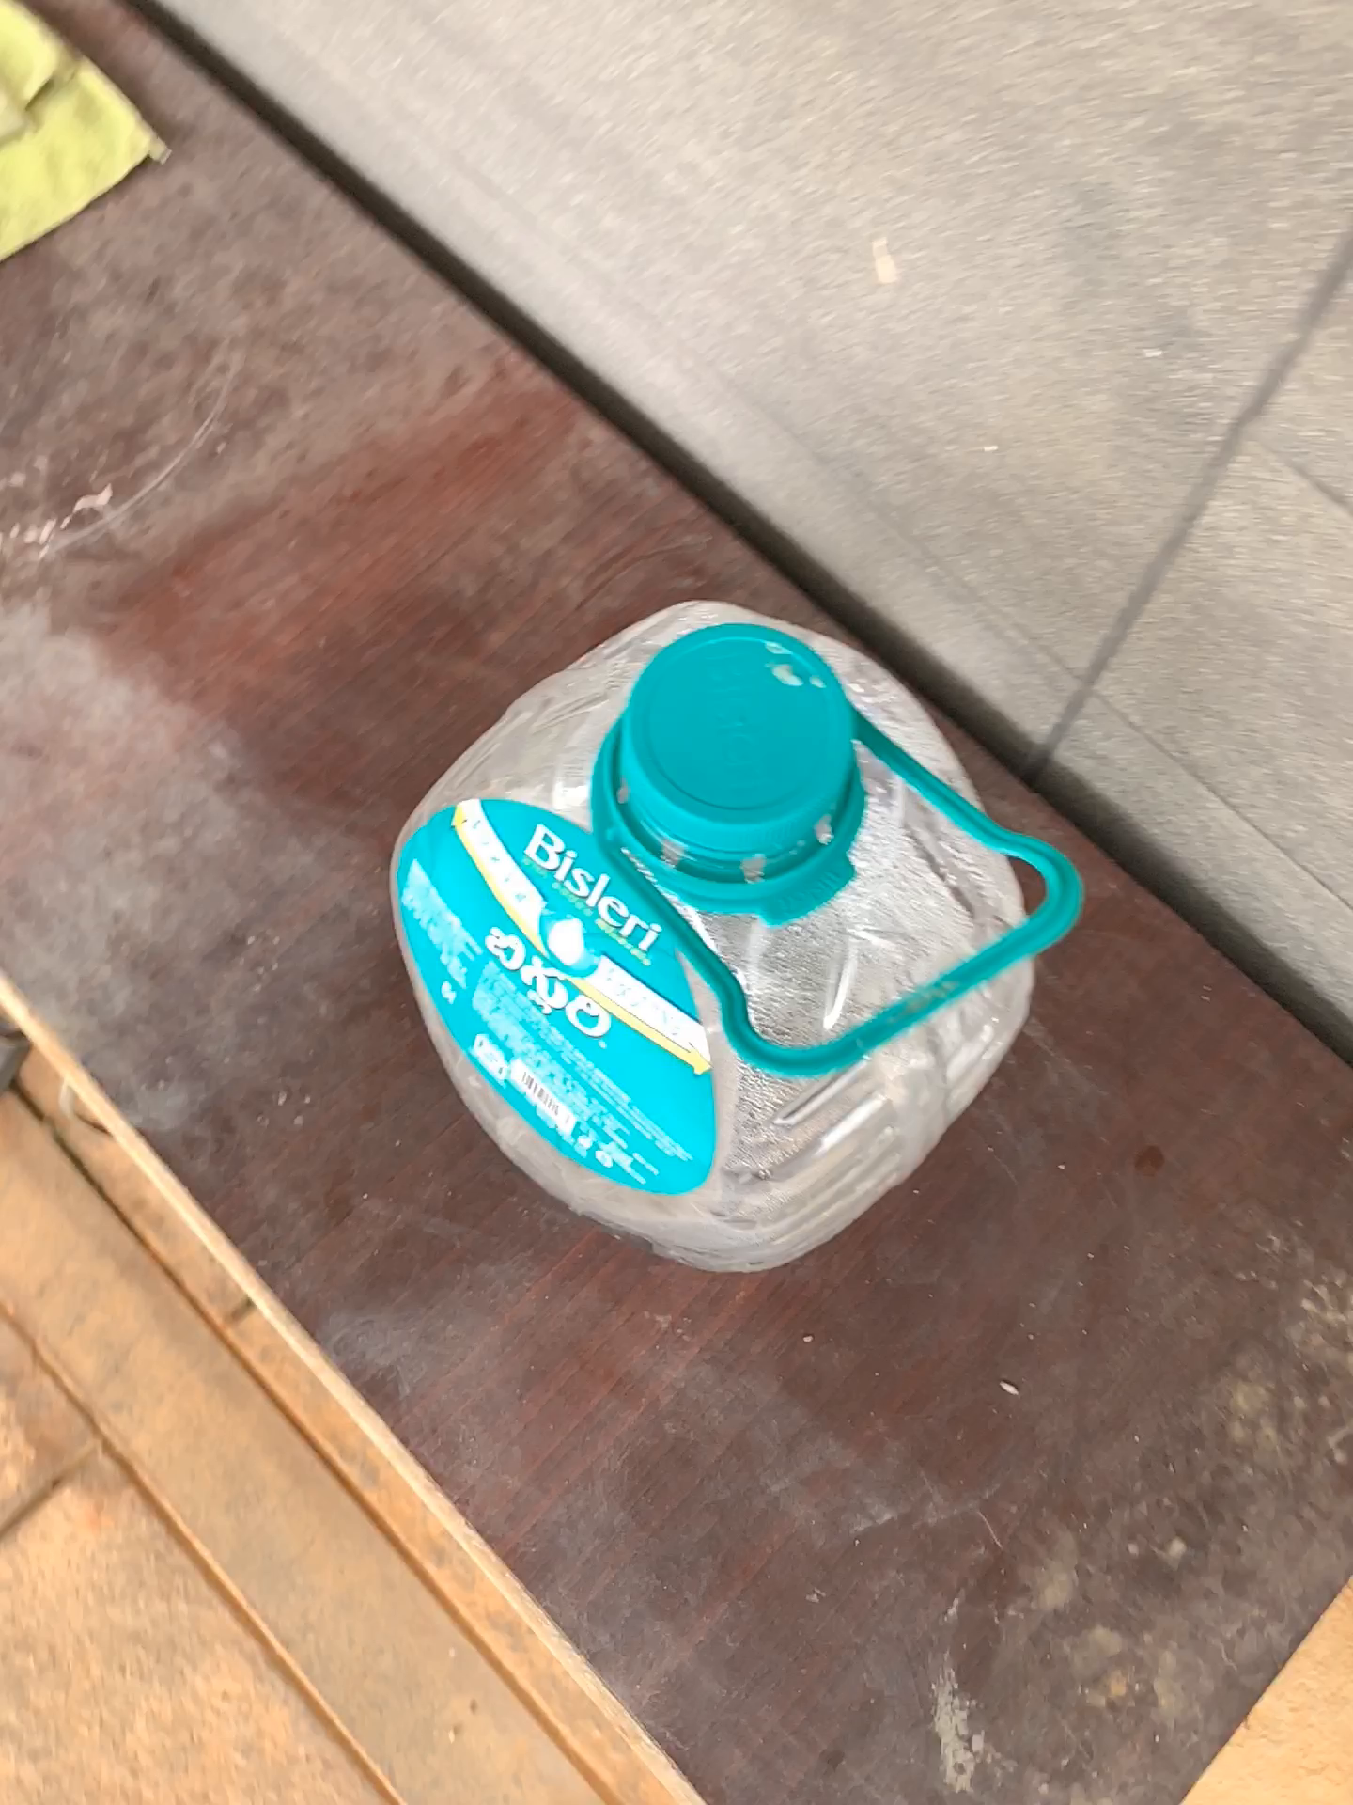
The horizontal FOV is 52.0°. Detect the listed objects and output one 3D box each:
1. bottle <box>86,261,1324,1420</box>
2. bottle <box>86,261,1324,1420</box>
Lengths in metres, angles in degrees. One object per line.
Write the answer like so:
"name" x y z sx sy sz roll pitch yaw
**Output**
"bottle" 0.002 0.004 0.403 0.180 0.220 0.200 -41 75 -16
"bottle" 0.002 0.004 0.403 0.180 0.220 0.200 -41 75 -16
